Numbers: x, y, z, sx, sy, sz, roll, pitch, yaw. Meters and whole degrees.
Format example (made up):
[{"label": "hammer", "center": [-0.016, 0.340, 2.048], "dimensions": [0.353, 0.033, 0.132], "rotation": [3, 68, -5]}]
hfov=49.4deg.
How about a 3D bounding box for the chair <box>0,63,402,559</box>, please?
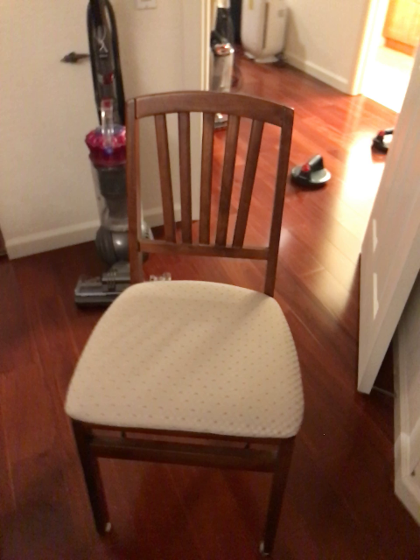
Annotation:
[{"label": "chair", "center": [-0.029, 0.105, 1.000], "dimensions": [0.500, 0.923, 0.564], "rotation": [4, 38, 4]}]
